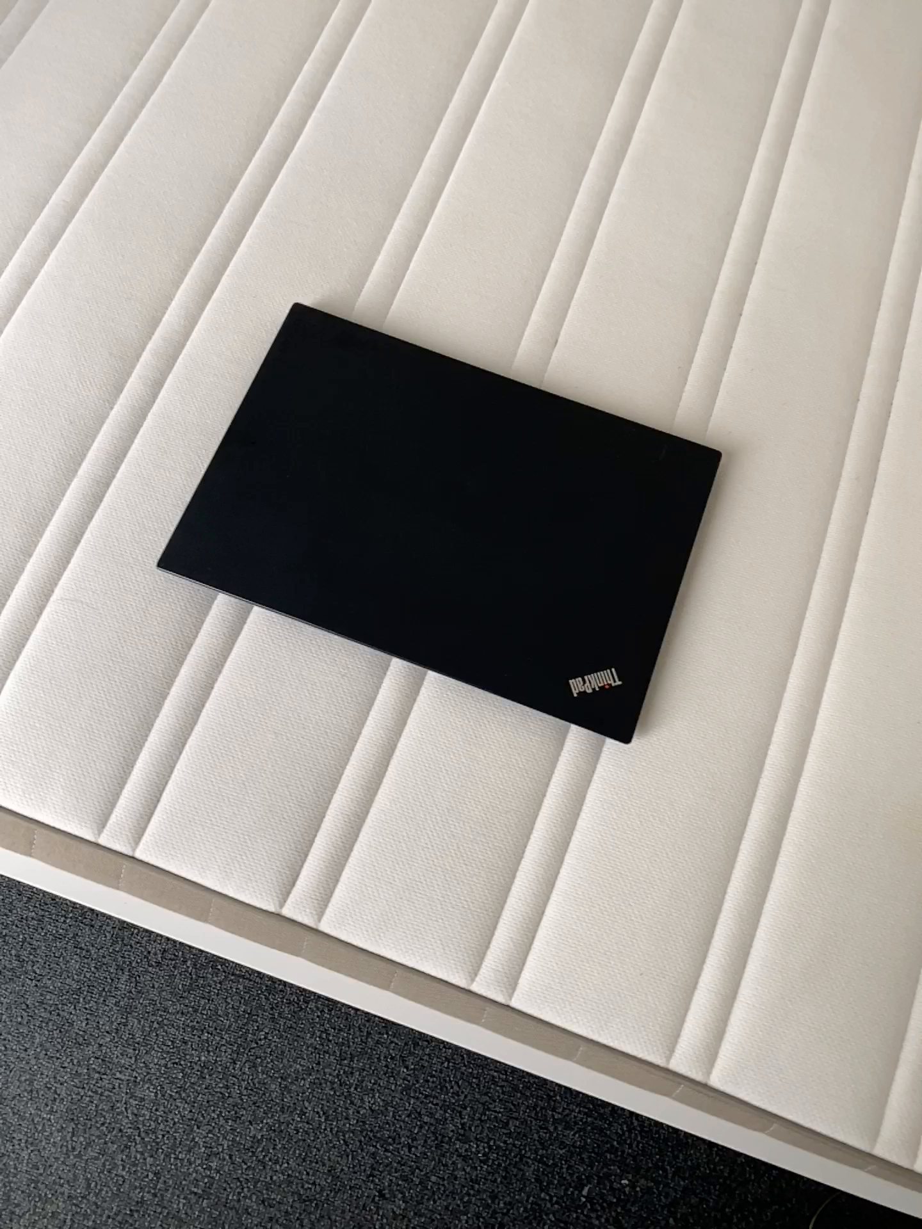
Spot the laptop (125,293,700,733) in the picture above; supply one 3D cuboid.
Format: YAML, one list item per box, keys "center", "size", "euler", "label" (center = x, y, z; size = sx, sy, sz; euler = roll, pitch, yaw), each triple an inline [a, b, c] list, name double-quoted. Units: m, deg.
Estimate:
- center: [-0.023, -0.080, 0.639]
  size: [0.325, 0.012, 0.226]
  euler: [20, 68, 4]
  label: "laptop"
